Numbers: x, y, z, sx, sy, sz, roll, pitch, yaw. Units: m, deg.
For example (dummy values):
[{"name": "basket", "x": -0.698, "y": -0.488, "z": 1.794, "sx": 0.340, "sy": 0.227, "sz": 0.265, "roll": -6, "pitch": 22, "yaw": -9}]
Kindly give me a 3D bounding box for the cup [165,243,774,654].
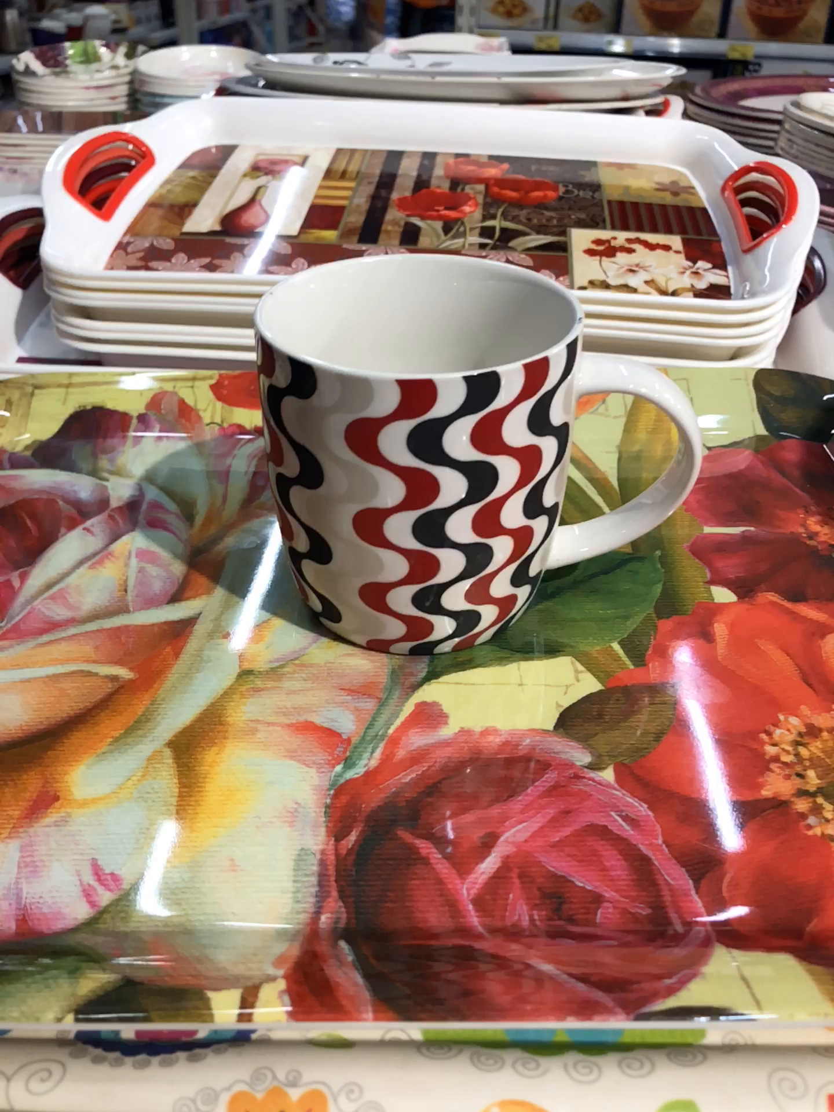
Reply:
[{"name": "cup", "x": 0.010, "y": -0.033, "z": 0.257, "sx": 0.130, "sy": 0.079, "sz": 0.091, "roll": 0, "pitch": 33, "yaw": -2}]
